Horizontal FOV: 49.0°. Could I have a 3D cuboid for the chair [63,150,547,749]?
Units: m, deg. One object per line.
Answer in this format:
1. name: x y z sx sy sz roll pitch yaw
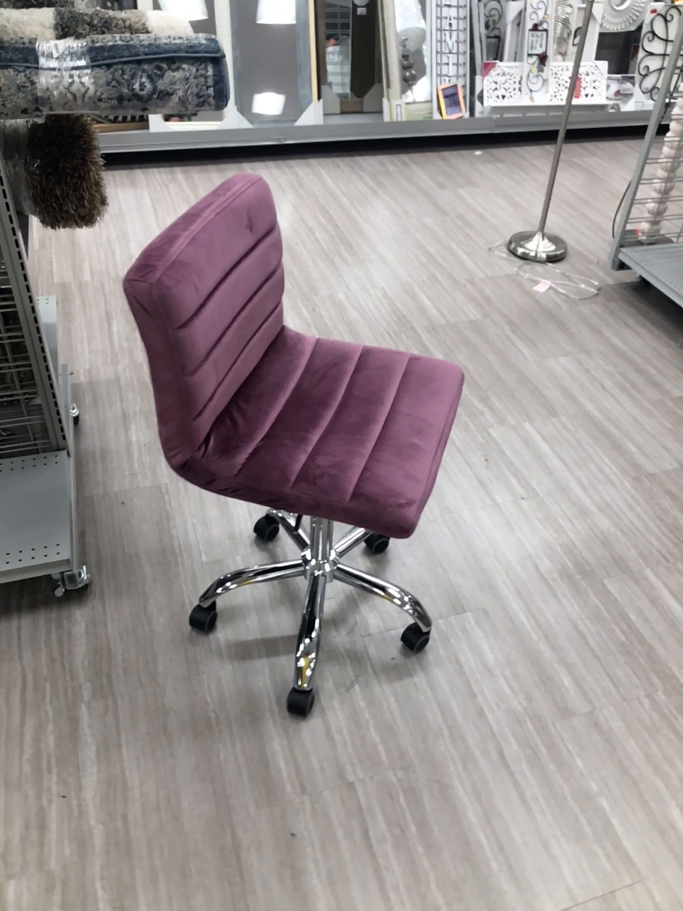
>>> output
1. chair: -0.017 -0.016 1.355 0.577 0.800 0.590 11 40 8
